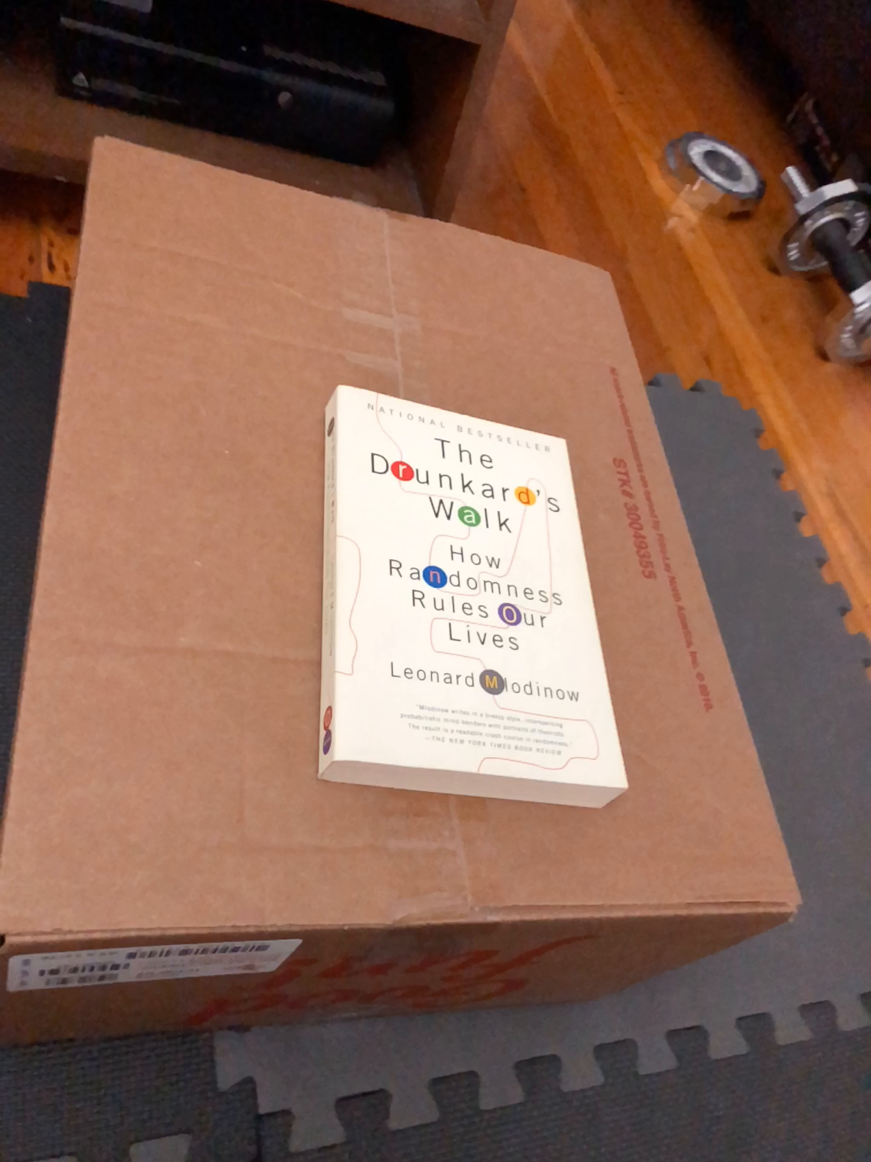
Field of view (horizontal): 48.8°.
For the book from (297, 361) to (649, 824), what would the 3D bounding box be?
[{"bbox_3d":[0.010,0.001,0.451,0.140,0.040,0.211,9,54,-19],"label":"book"}]
